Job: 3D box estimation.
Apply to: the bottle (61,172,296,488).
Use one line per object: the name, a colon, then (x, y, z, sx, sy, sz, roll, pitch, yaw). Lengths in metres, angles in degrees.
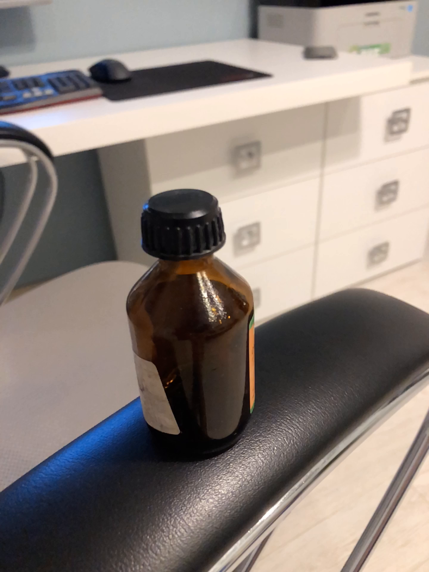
bottle: (-0.009, 0.013, 0.167, 0.050, 0.083, 0.050, -2, 33, 1)
